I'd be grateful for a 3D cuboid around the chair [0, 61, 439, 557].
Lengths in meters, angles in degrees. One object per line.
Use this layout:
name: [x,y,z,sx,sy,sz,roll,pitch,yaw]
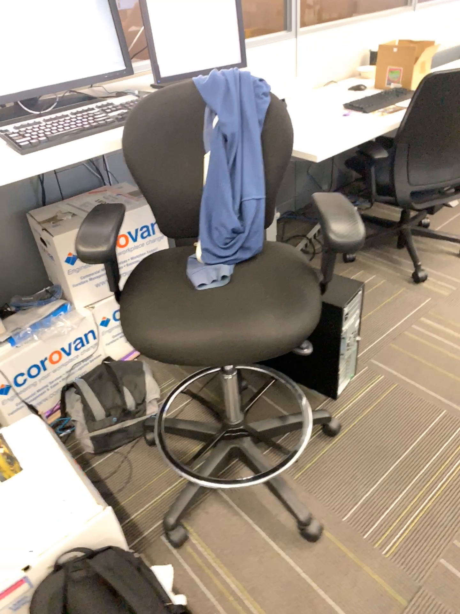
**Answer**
chair: [-0.014,-0.006,1.332,0.740,1.063,0.845,-1,36,6]
